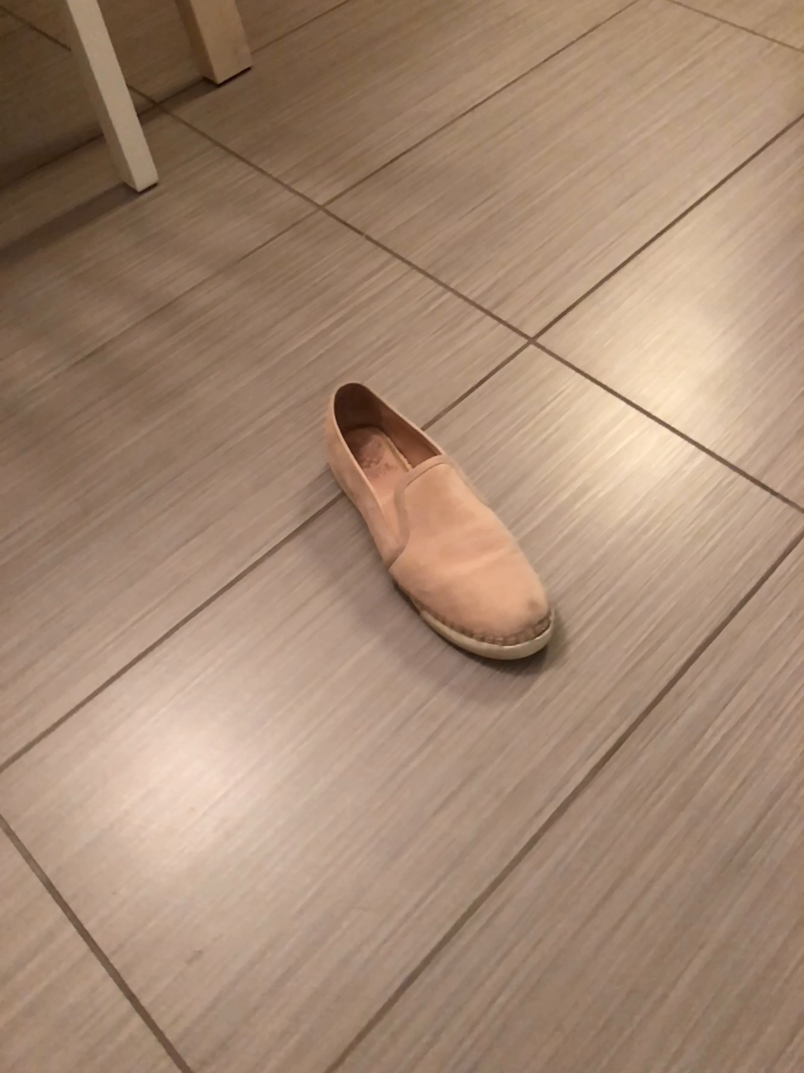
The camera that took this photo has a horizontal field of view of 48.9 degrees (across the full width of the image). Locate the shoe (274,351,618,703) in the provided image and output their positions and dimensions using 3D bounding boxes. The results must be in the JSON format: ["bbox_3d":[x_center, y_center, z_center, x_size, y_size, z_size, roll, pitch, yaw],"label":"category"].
[{"bbox_3d":[0.025,-0.018,0.681,0.110,0.070,0.271,-33,60,-17],"label":"shoe"}]
